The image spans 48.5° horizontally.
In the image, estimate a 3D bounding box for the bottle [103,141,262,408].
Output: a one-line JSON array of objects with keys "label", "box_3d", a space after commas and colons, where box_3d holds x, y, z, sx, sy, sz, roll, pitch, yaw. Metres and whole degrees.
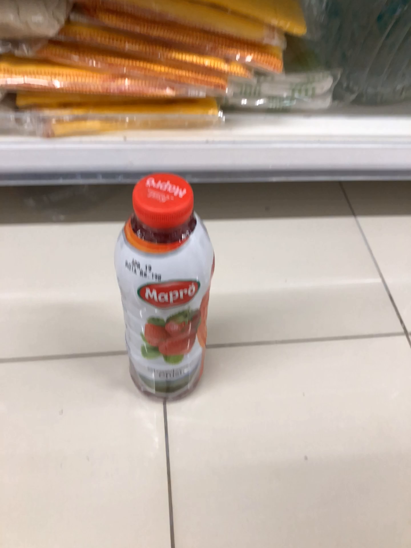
[{"label": "bottle", "box_3d": [-0.026, 0.020, 0.378, 0.090, 0.249, 0.080, -3, 52, -8]}]
